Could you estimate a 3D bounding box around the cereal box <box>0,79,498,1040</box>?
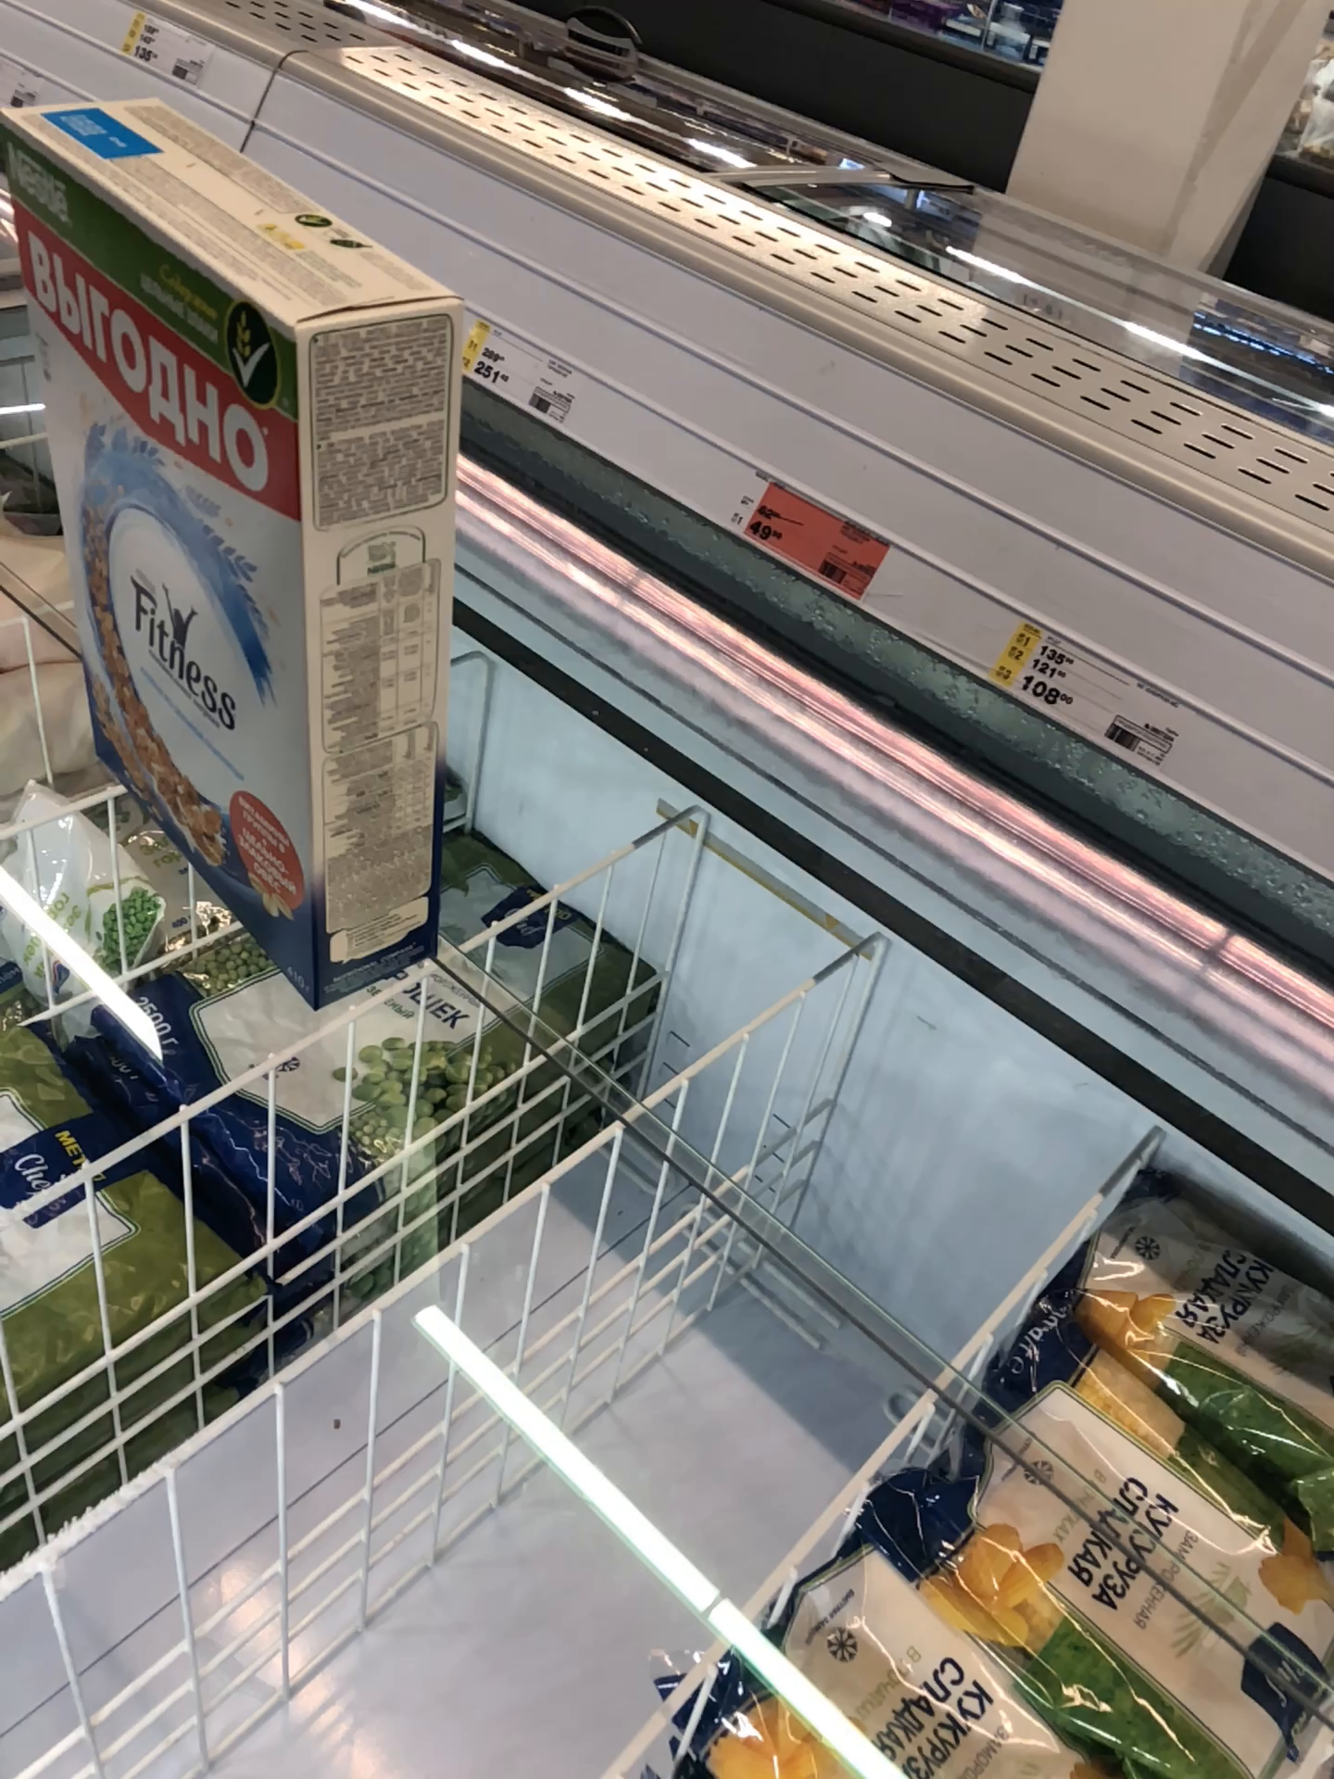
[{"bbox_3d":[-0.151,-0.112,0.523,0.060,0.268,0.201,-24,51,-33],"label":"cereal box"}]
